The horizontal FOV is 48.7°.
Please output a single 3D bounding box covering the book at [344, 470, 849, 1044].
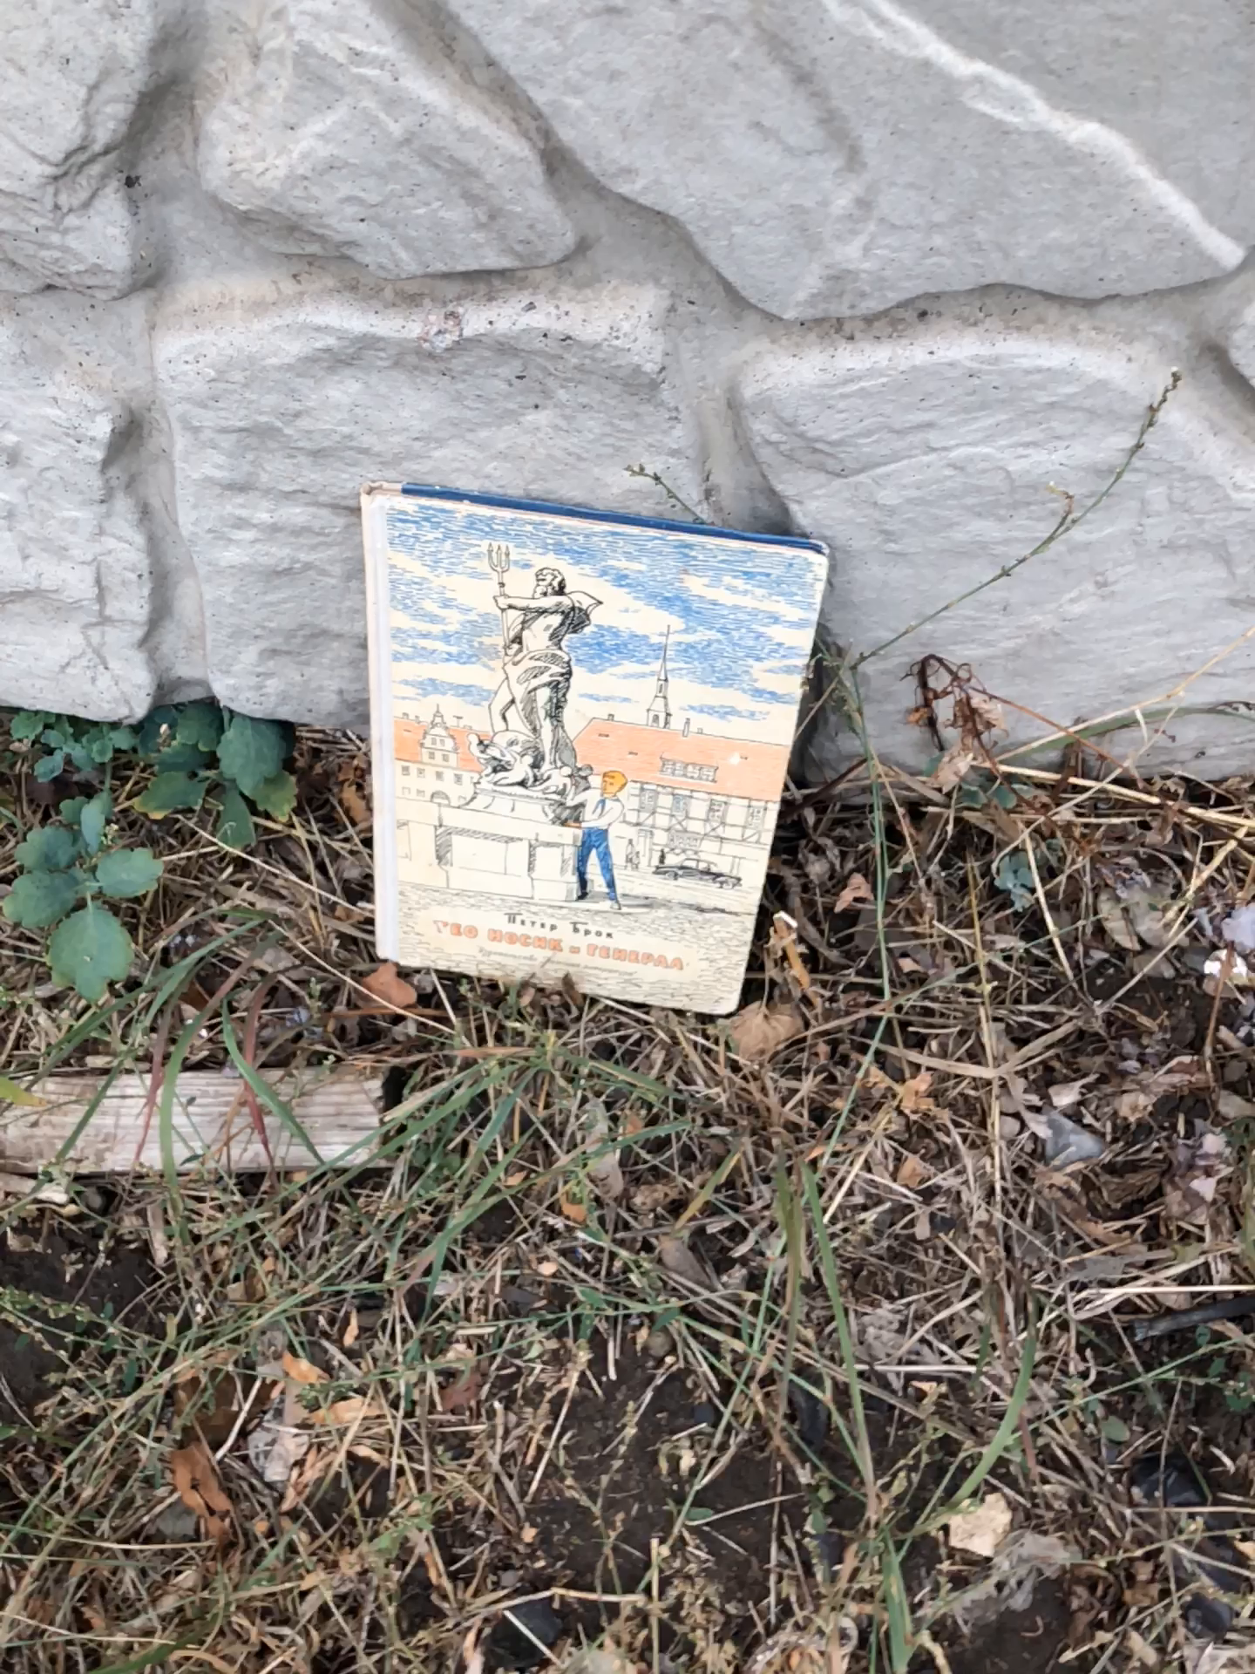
[{"bbox_3d":[-0.013,-0.019,0.477,0.150,0.200,0.020,10,40,10],"label":"book"}]
